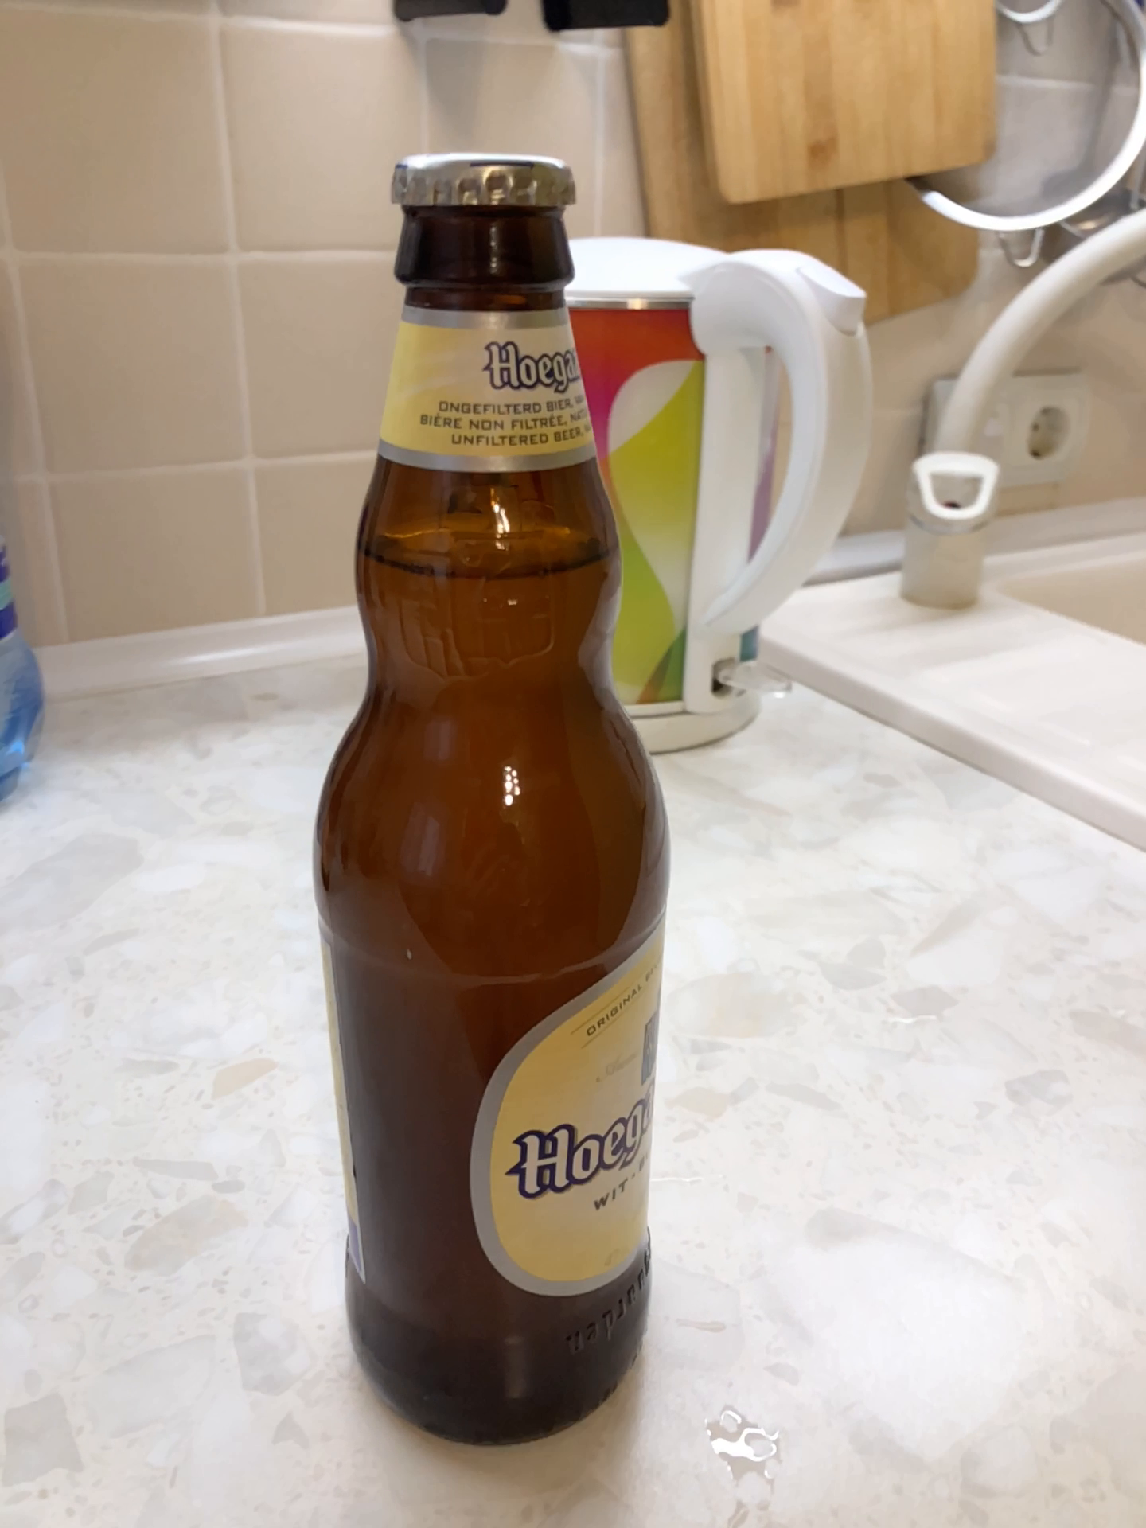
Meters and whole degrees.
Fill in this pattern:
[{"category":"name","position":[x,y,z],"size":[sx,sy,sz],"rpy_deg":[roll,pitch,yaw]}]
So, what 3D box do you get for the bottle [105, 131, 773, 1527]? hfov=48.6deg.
[{"category":"bottle","position":[-0.018,0.018,0.245],"size":[0.080,0.248,0.070],"rpy_deg":[9,25,19]}]
